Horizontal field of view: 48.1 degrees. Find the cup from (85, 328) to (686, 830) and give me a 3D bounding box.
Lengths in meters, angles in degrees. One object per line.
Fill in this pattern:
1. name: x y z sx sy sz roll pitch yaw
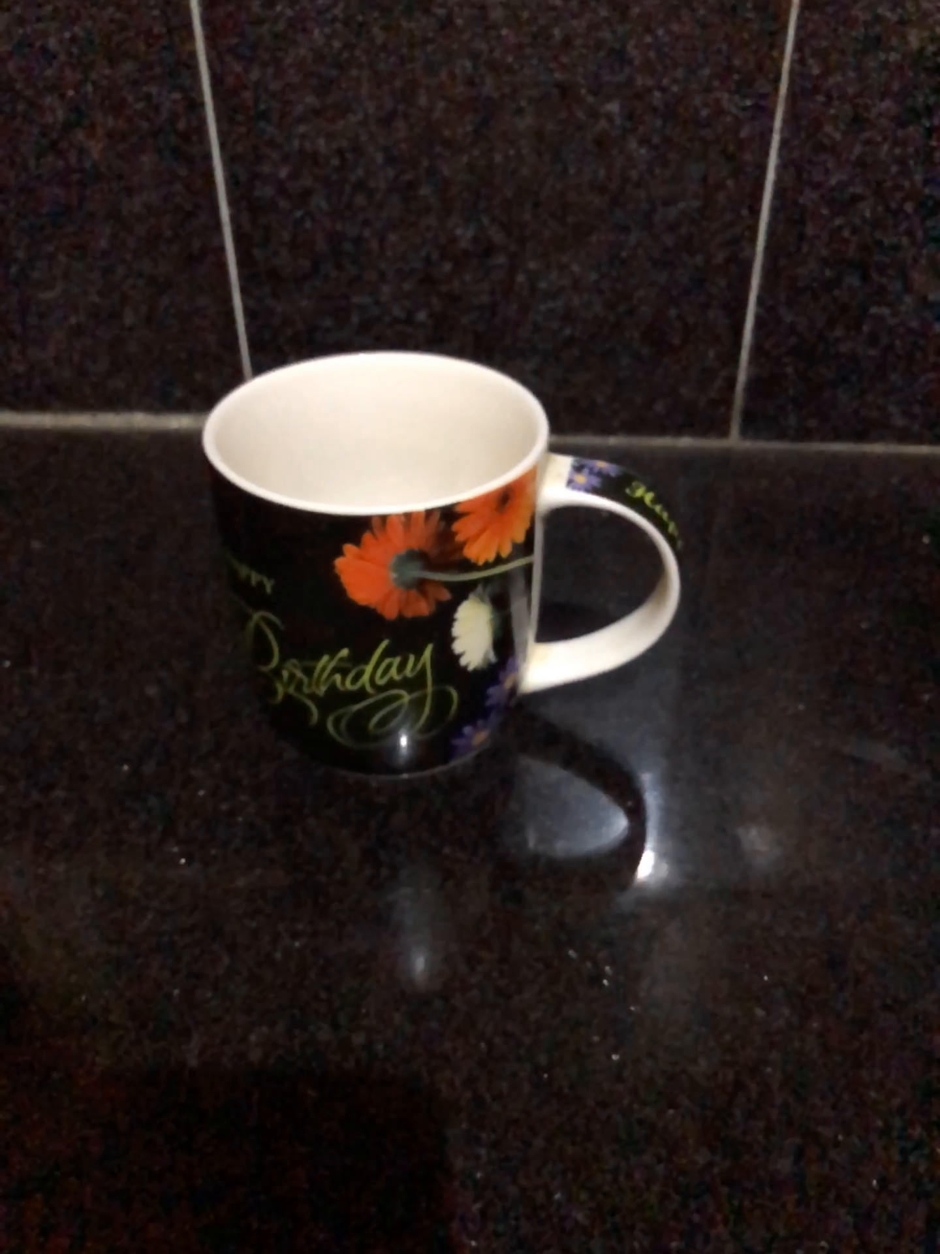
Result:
1. cup: -0.013 -0.017 0.286 0.130 0.089 0.091 5 38 7
